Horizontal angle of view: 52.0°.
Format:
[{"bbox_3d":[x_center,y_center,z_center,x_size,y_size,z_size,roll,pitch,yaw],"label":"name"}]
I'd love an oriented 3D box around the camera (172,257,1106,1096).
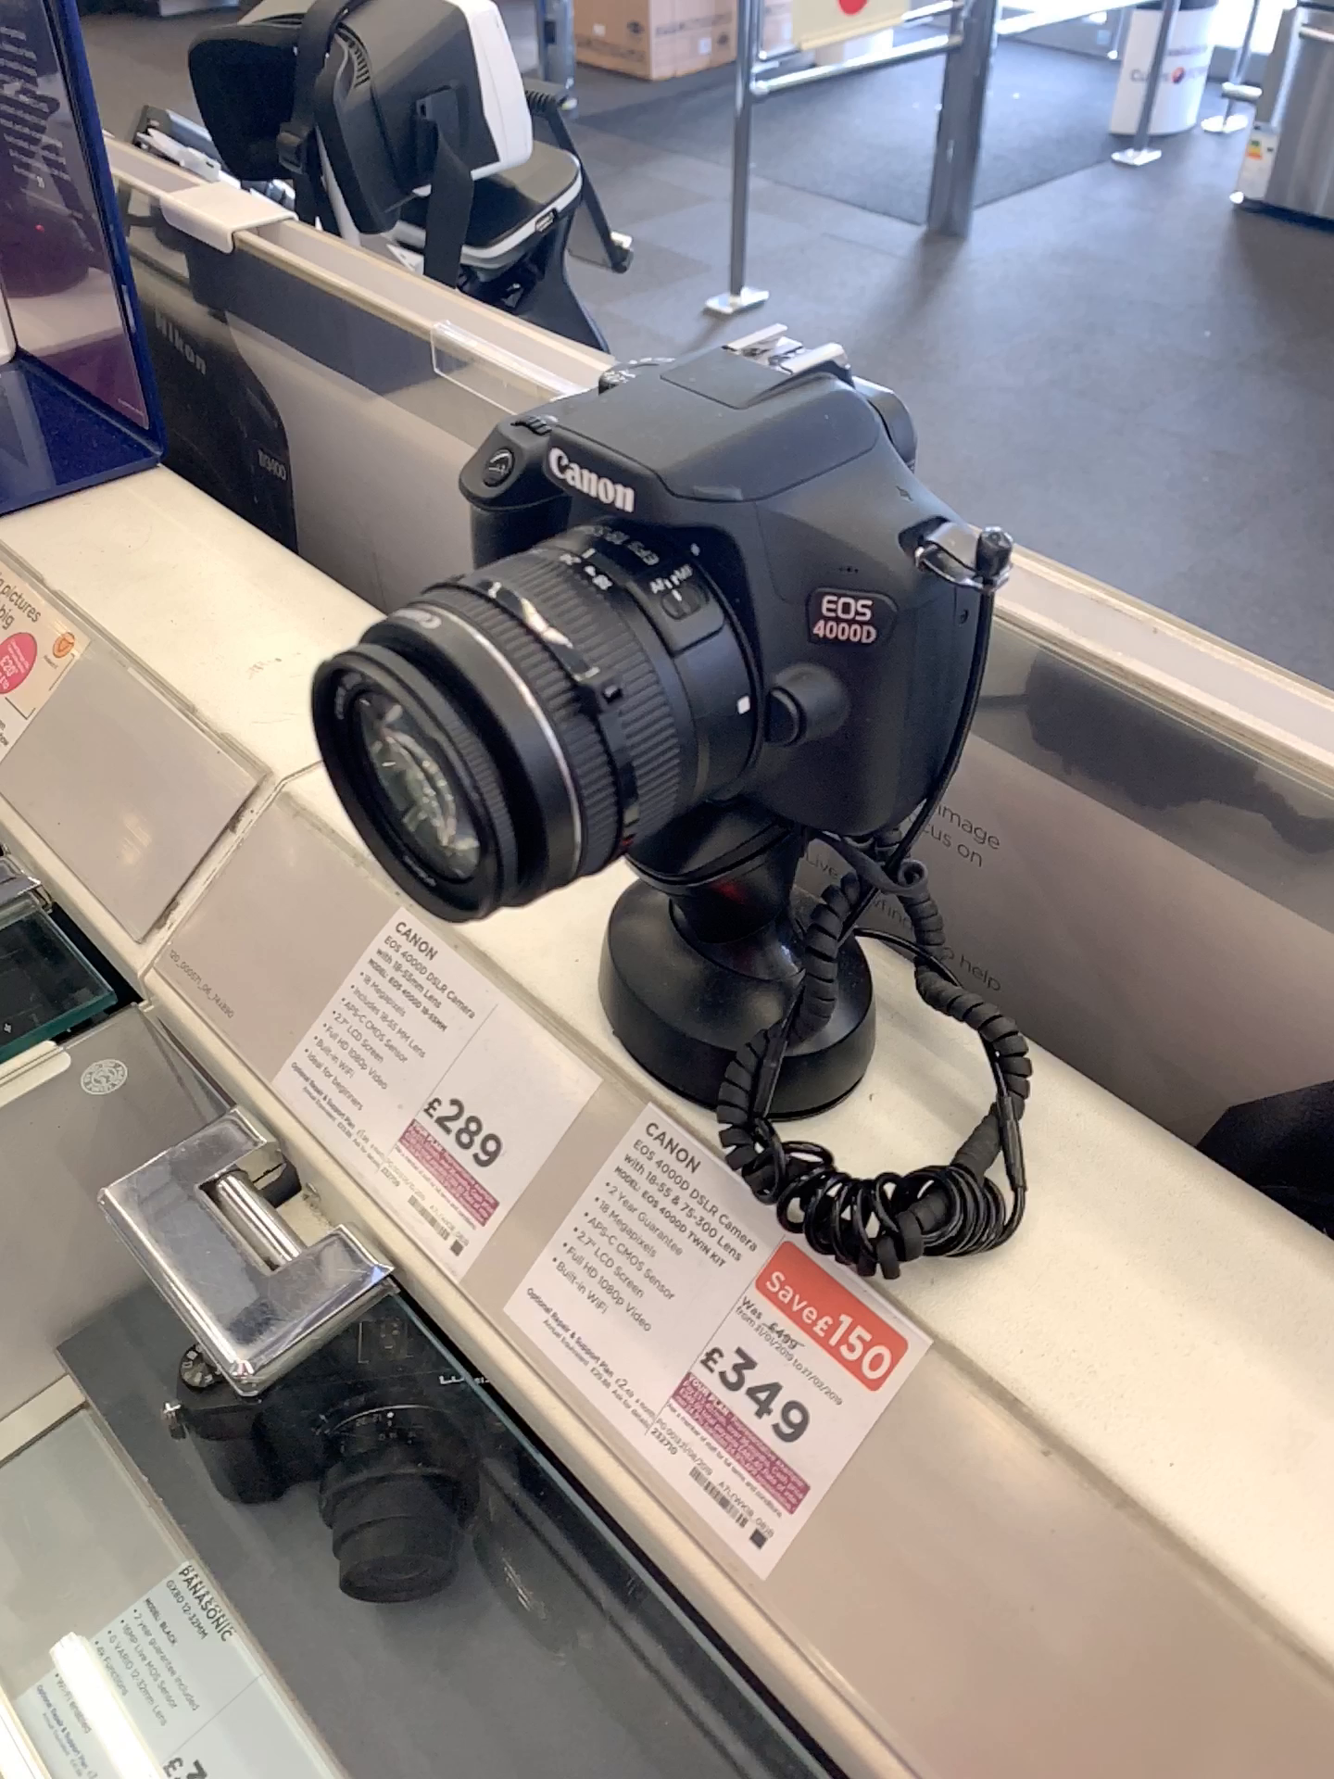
[{"bbox_3d":[-0.009,-0.061,0.317,0.136,0.101,0.141,-29,50,-28],"label":"camera"}]
